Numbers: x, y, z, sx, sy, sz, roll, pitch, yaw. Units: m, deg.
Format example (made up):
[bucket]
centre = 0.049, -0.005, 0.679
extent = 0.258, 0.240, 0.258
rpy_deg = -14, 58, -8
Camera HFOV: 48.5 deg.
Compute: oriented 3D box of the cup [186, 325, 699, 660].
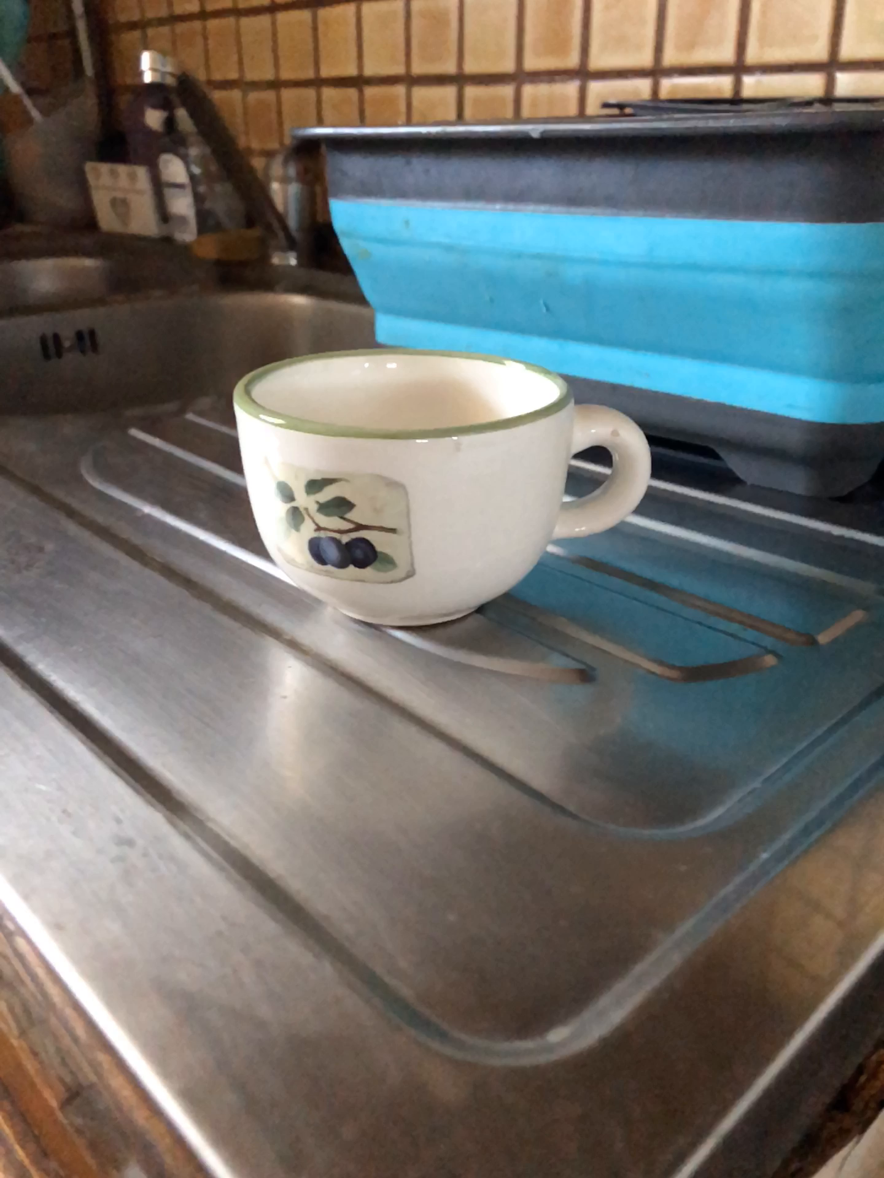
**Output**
[cup]
centre = -0.001, -0.031, 0.264
extent = 0.110, 0.060, 0.090
rpy_deg = -1, 26, -2
